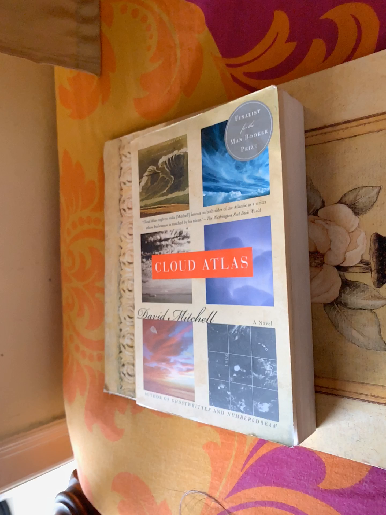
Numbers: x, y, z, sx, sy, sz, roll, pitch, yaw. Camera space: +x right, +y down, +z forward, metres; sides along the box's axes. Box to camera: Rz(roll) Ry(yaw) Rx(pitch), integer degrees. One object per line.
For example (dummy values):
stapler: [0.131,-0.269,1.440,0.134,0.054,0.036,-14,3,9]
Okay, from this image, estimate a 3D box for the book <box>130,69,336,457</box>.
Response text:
book: [0.016,0.004,0.256,0.131,0.040,0.190,-4,86,44]
